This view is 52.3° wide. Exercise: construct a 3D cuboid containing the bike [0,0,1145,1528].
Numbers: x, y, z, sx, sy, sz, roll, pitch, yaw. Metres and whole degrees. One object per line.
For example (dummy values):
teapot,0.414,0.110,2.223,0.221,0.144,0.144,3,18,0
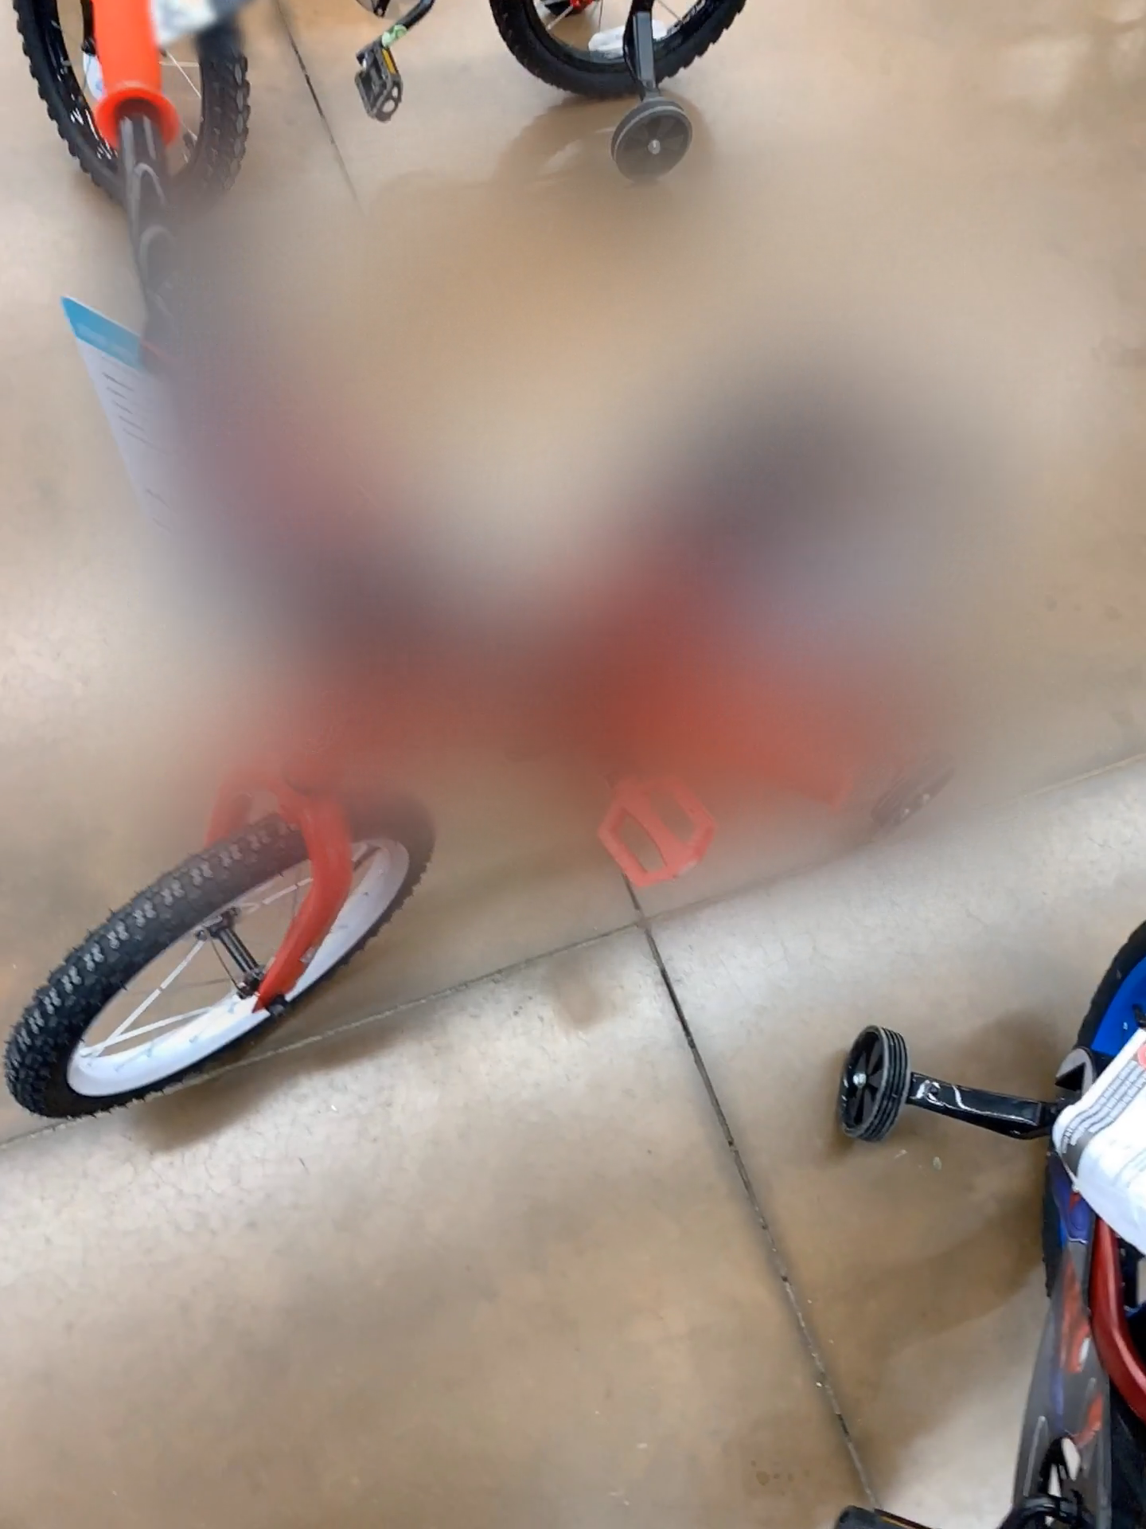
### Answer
bike,0.038,-0.079,0.912,1.070,0.851,0.586,-32,72,-20
